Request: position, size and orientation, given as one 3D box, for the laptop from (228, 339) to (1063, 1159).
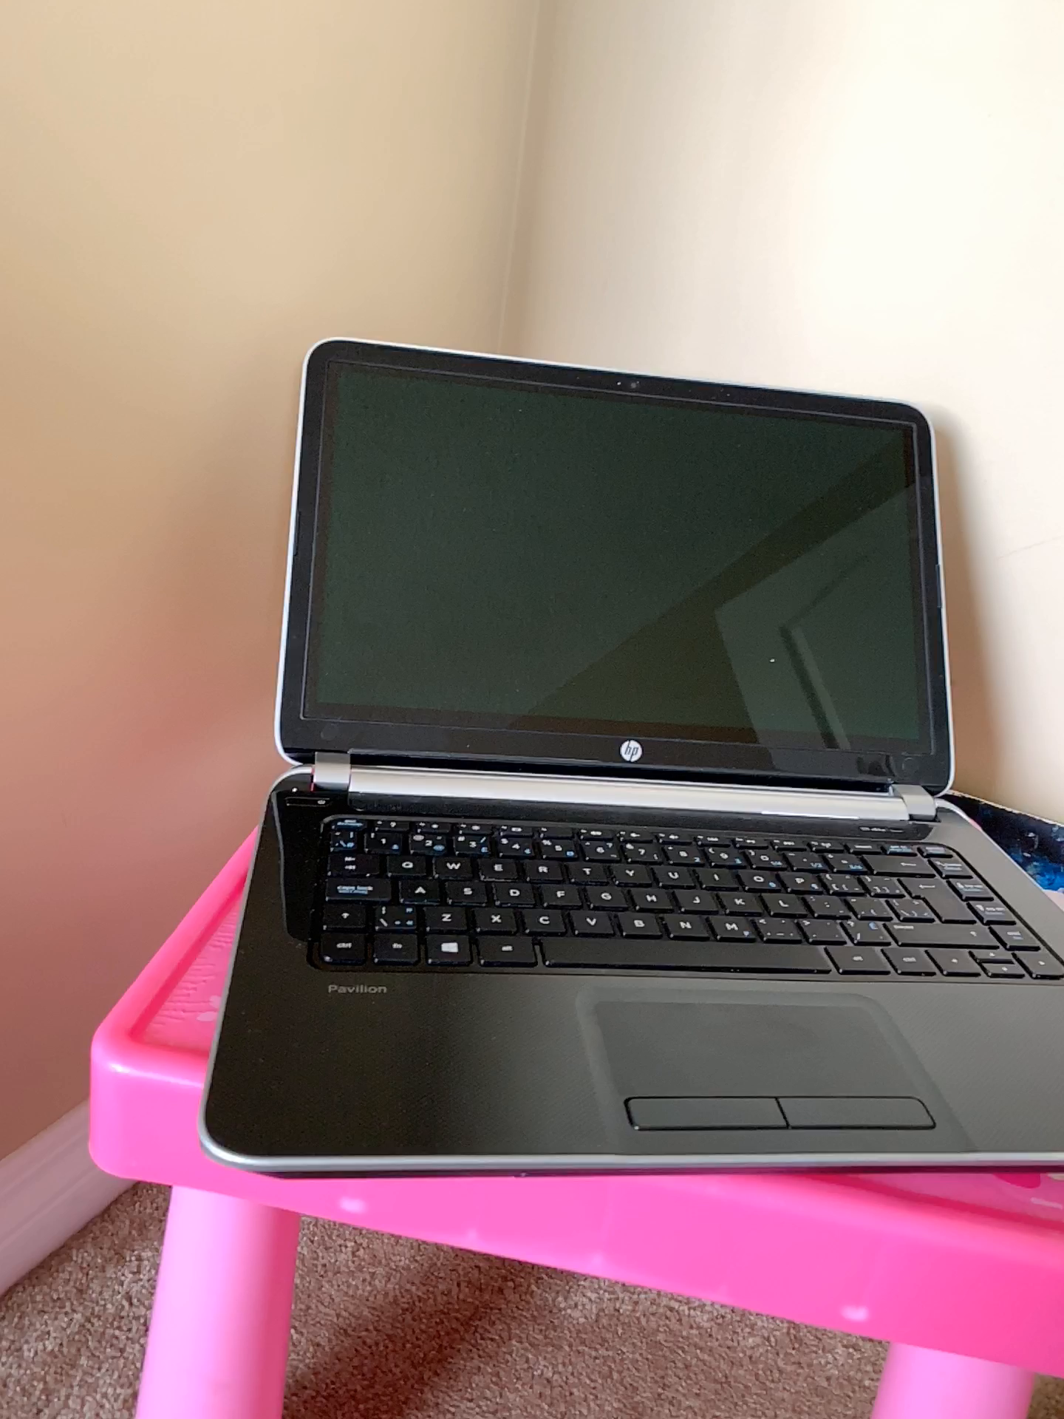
[{"bbox_3d":[0.054,-0.015,0.381,0.274,0.161,0.272,3,24,-10],"label":"laptop"}]
